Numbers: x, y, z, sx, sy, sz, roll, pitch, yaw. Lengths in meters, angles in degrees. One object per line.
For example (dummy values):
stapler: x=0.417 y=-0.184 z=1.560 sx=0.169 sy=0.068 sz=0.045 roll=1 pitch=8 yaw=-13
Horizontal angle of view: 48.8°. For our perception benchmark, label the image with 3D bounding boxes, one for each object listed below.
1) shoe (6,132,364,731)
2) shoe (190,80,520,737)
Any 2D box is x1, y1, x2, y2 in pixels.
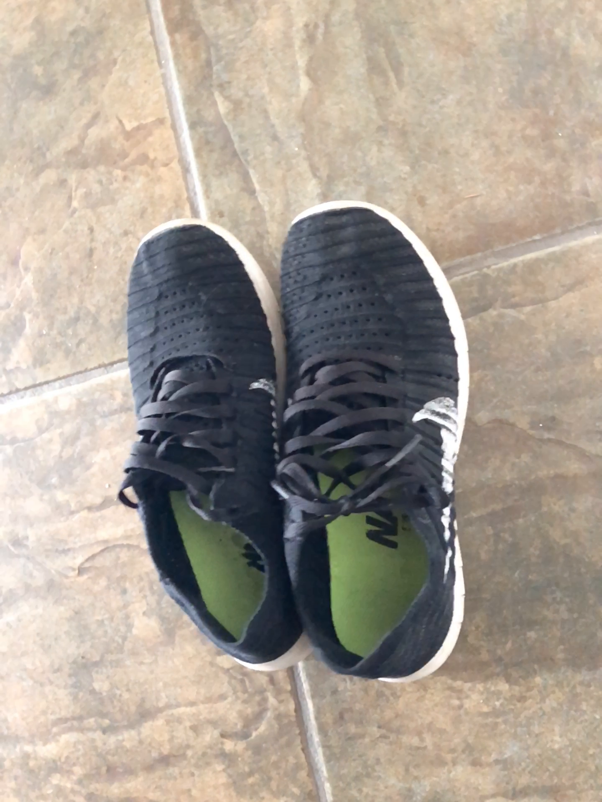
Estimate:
shoe: x=-0.057 y=0.016 z=0.356 sx=0.110 sy=0.100 sz=0.260 roll=-14 pitch=83 yaw=15
shoe: x=0.030 y=0.007 z=0.323 sx=0.110 sy=0.100 sz=0.260 roll=-7 pitch=85 yaw=15
